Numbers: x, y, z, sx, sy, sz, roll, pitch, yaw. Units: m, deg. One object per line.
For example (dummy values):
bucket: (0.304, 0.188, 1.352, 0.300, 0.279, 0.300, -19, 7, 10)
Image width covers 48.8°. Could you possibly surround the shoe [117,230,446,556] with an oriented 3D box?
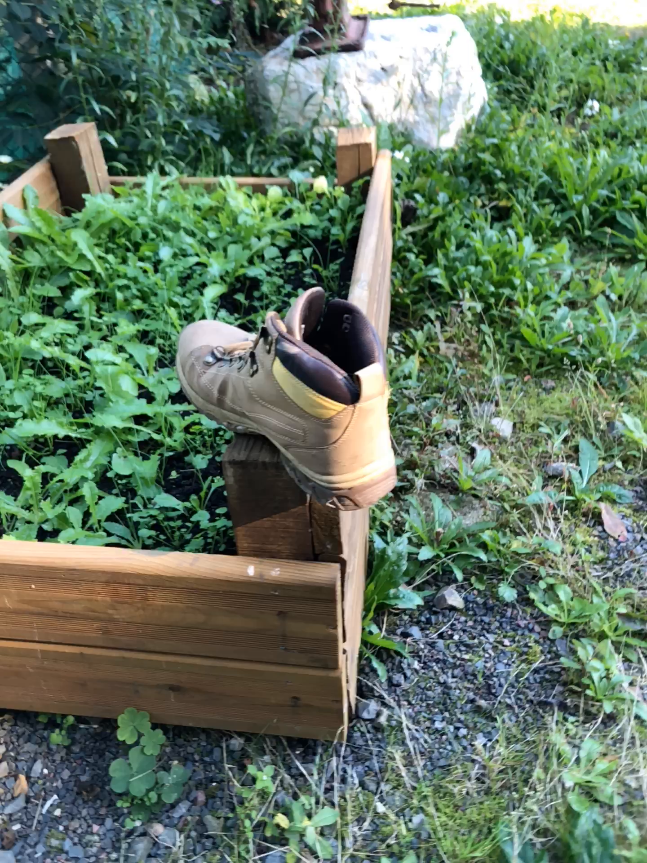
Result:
shoe: (-0.045, -0.046, 0.614, 0.101, 0.149, 0.280, -32, 49, -33)
